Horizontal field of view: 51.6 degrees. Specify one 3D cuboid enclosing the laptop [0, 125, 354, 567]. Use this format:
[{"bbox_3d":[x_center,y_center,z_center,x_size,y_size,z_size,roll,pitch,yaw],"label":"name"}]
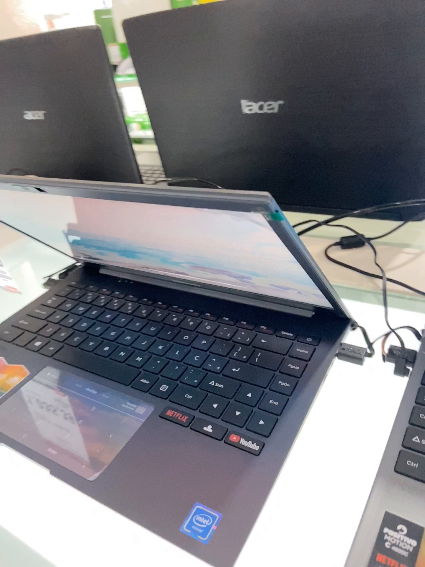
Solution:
[{"bbox_3d":[-0.089,-0.007,0.349,0.334,0.163,0.223,11,37,31],"label":"laptop"}]
